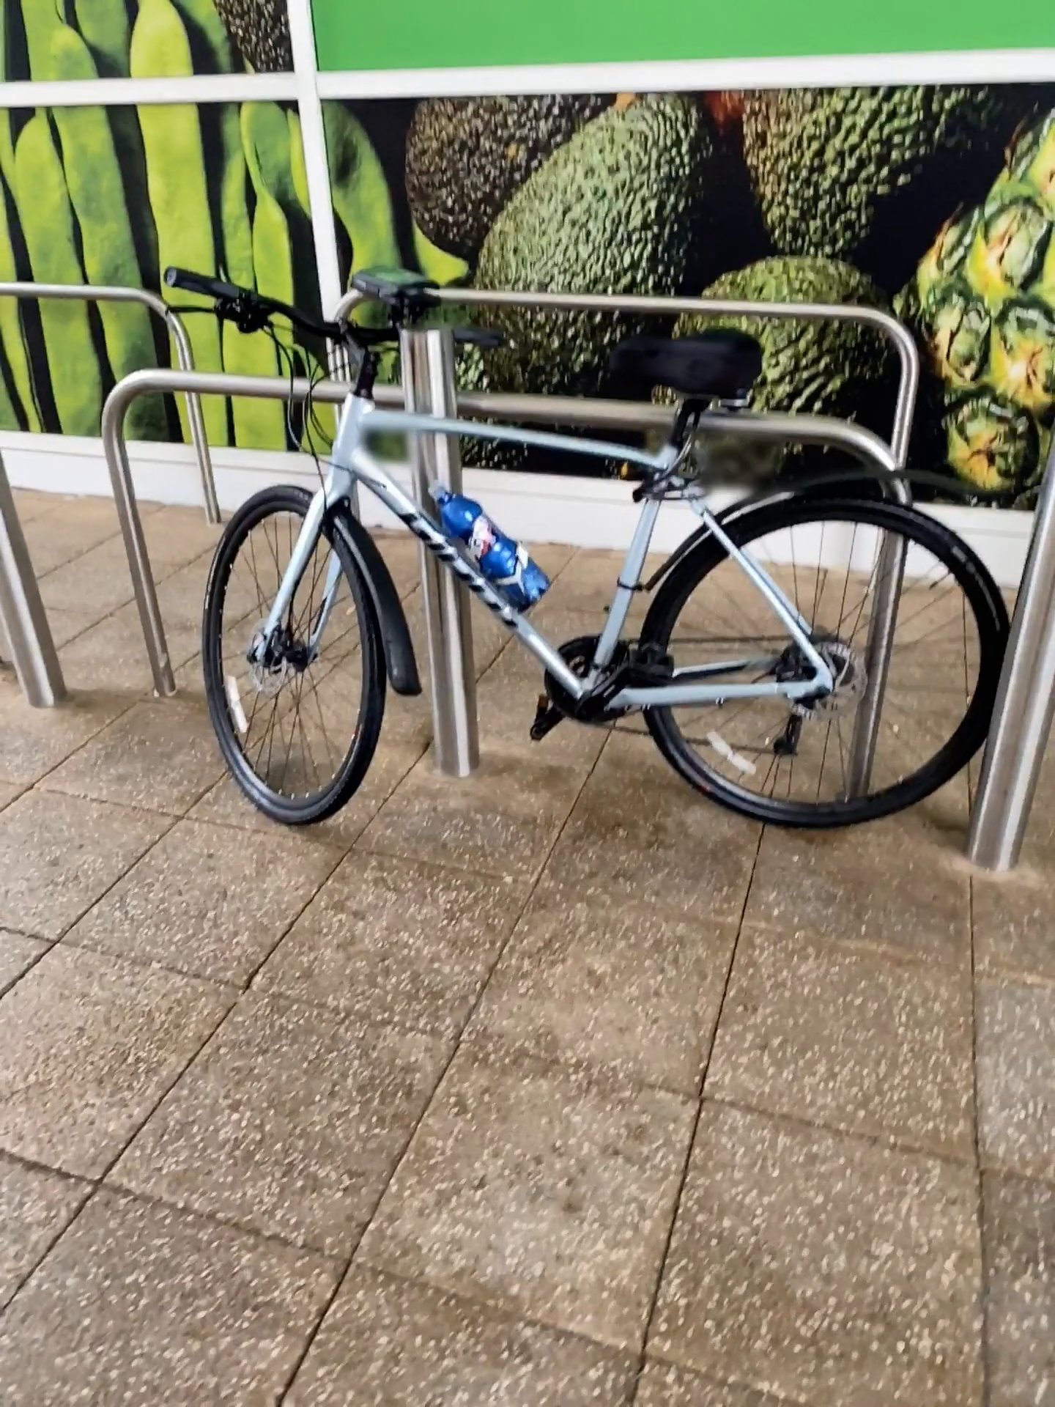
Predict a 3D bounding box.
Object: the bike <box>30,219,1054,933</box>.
[{"bbox_3d":[0.082,-0.275,1.852,1.461,0.962,0.609,5,30,11],"label":"bike"}]
